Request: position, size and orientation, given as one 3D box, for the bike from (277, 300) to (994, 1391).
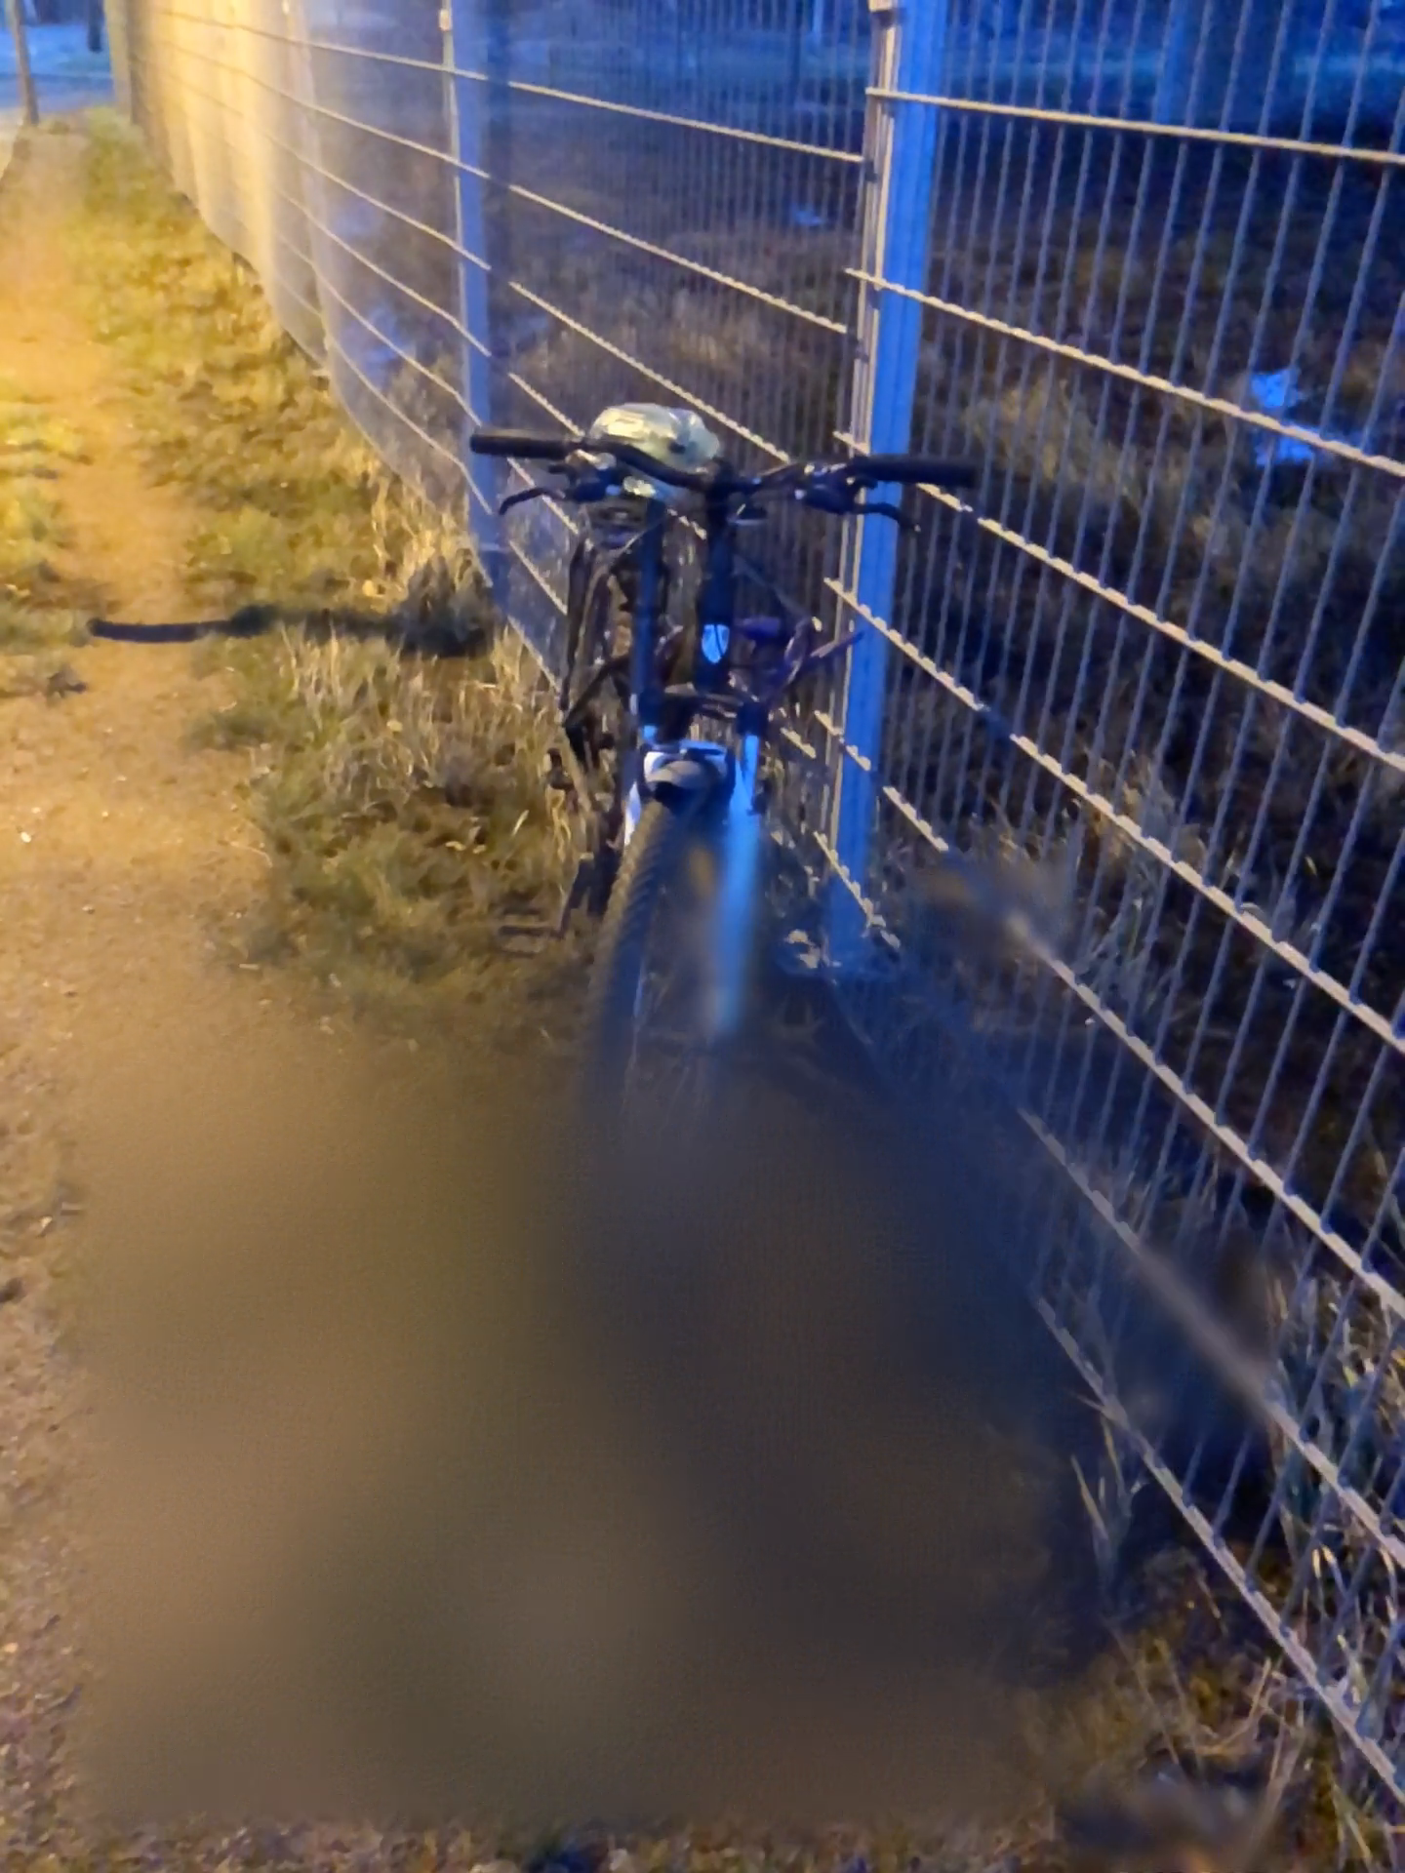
[{"bbox_3d":[-0.116,-0.306,2.147,0.569,0.947,1.592,-1,29,-5],"label":"bike"}]
